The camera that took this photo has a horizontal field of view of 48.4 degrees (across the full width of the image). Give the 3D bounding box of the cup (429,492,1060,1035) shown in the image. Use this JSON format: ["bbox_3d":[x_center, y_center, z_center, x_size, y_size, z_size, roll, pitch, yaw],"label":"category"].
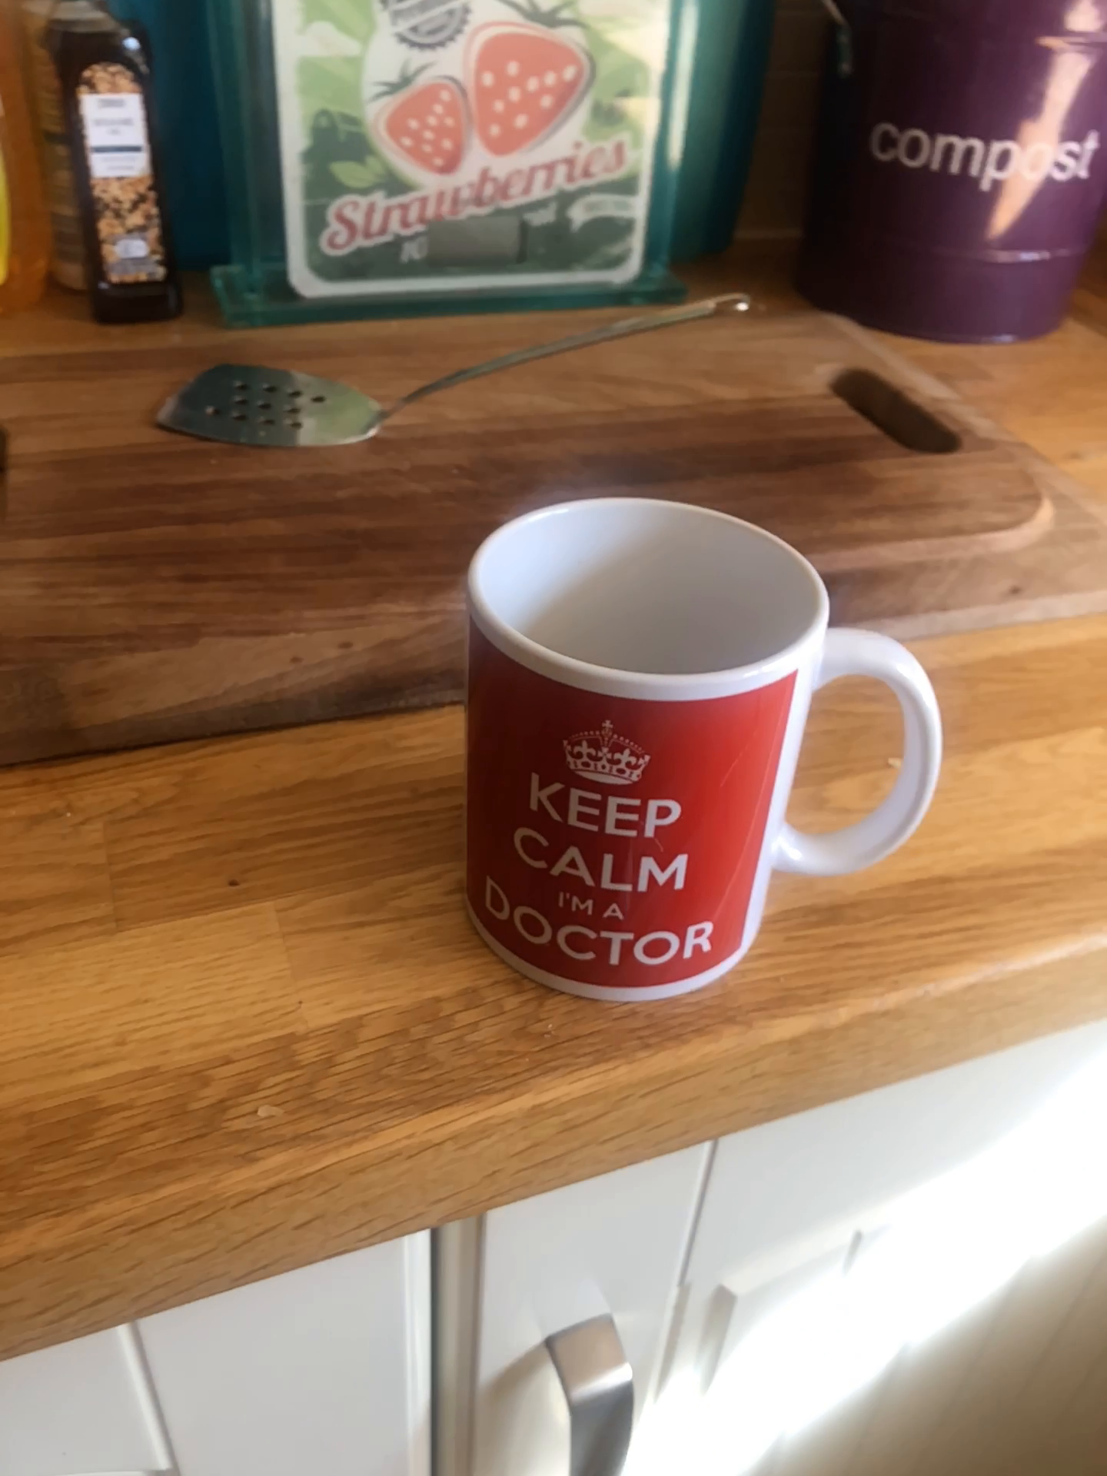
[{"bbox_3d":[0.035,0.002,0.307,0.123,0.094,0.090,-3,34,-9],"label":"cup"}]
